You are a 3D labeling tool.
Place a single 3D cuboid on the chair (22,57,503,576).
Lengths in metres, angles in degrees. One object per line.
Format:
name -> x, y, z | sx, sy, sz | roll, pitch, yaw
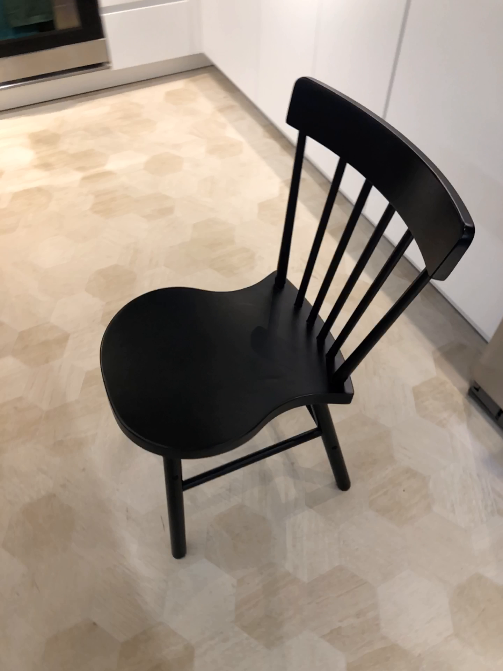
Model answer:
chair -> -0.022, 0.003, 1.031 | 0.510, 0.746, 0.483 | -17, 53, -14
